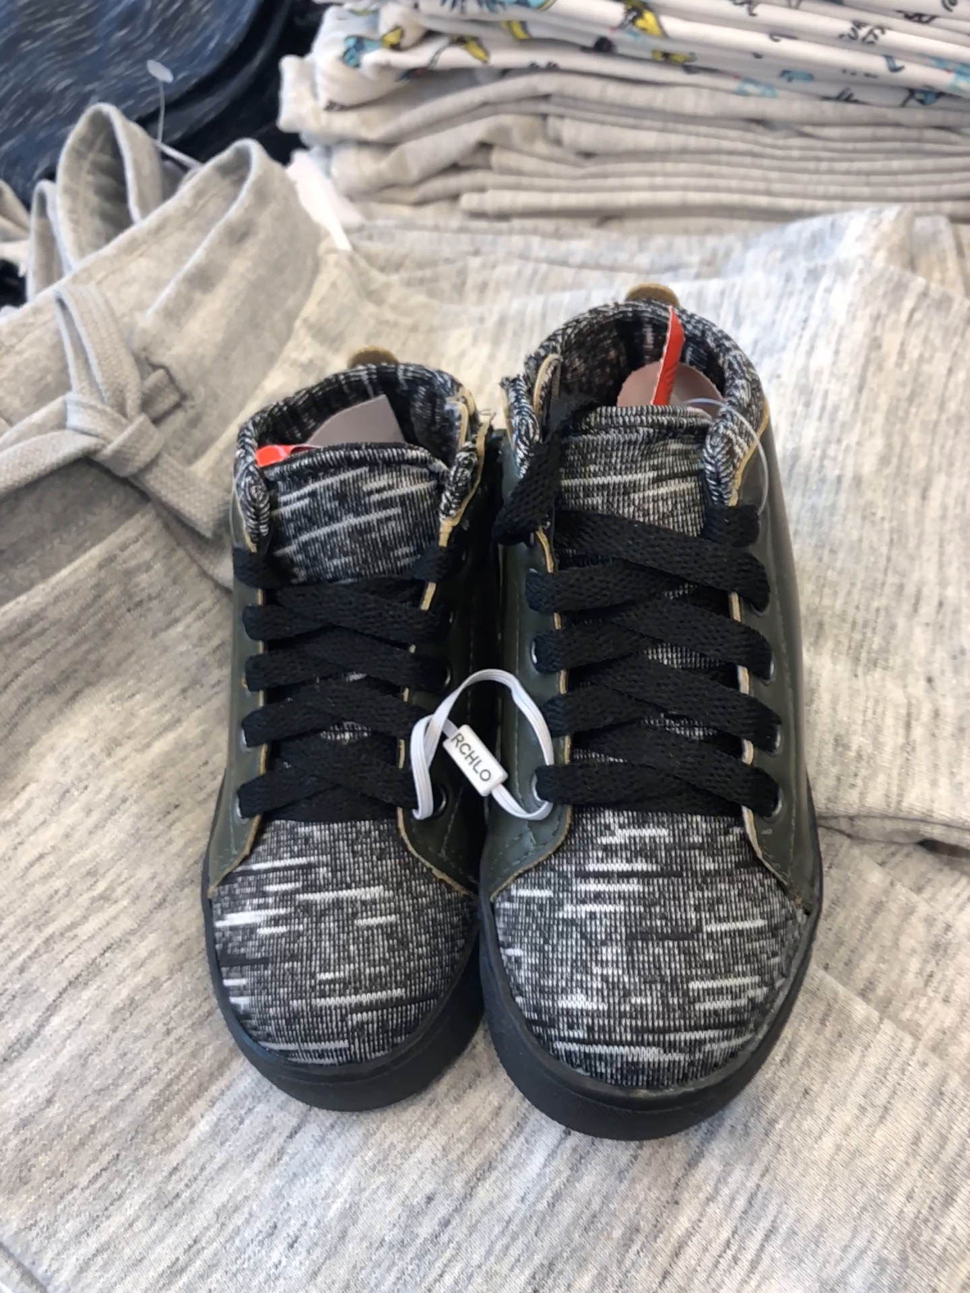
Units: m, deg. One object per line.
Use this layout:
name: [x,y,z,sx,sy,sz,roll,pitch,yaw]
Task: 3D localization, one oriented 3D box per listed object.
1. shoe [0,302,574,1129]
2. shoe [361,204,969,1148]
shoe: [-0.026,0.012,0.248,0.080,0.089,0.161,1,56,9]
shoe: [0.032,0.002,0.226,0.080,0.089,0.171,-2,55,7]
